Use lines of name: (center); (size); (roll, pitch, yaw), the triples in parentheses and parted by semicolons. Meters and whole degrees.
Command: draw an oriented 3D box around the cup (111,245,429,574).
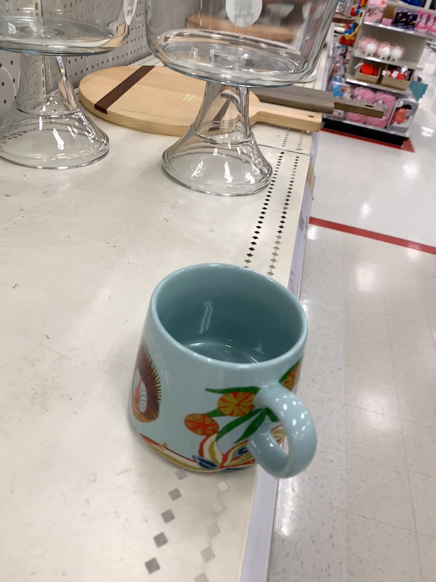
cup: (0.013, 0.054, 0.268); (0.120, 0.090, 0.141); (-9, 42, -25)
